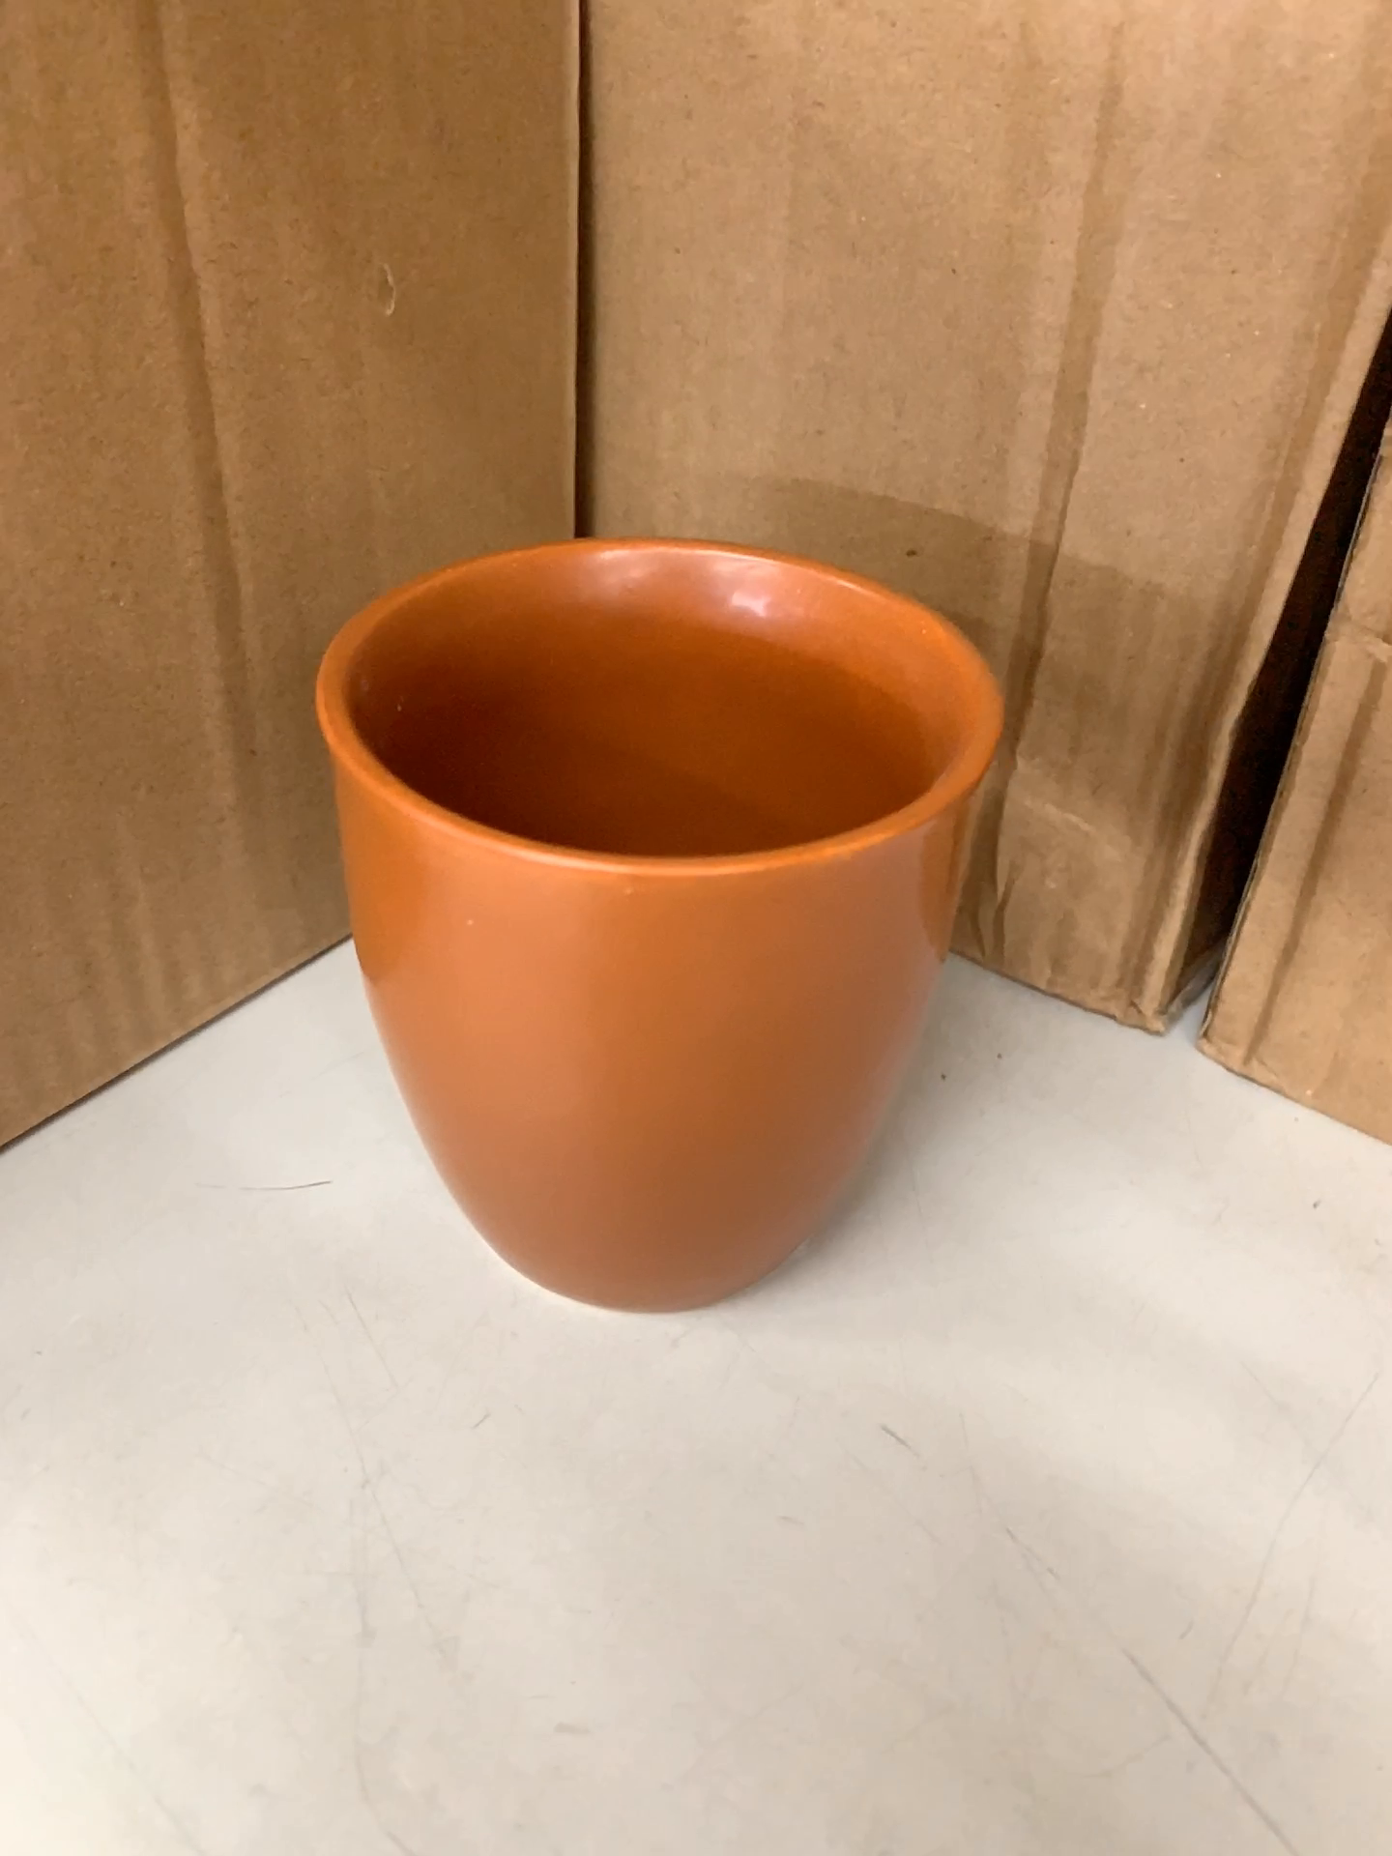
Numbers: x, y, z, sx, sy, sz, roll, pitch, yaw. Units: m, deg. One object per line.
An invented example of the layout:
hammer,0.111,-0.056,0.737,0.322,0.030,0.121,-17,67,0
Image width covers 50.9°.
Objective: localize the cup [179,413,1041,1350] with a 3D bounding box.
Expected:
cup,-0.006,-0.007,0.171,0.070,0.079,0.071,1,39,-1
